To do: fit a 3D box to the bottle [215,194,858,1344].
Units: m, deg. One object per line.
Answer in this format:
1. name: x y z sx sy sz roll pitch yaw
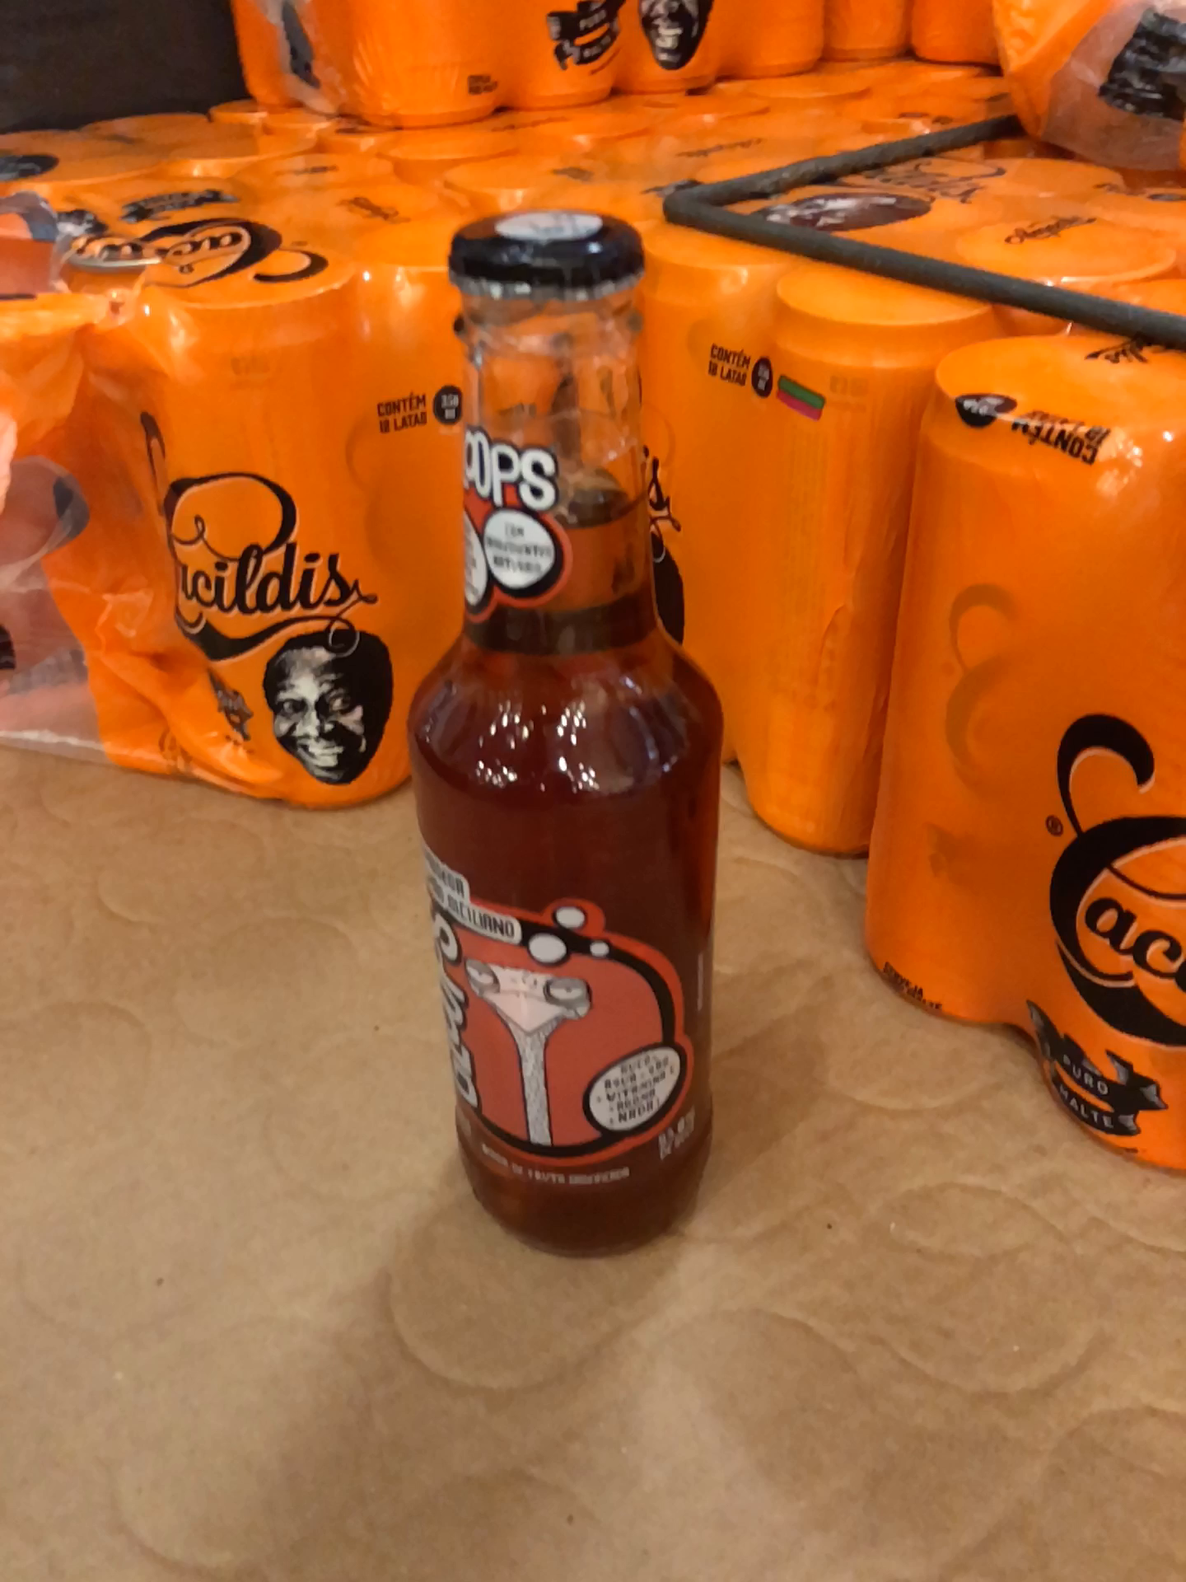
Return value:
1. bottle: -0.005 0.005 0.230 0.070 0.189 0.050 21 42 29
